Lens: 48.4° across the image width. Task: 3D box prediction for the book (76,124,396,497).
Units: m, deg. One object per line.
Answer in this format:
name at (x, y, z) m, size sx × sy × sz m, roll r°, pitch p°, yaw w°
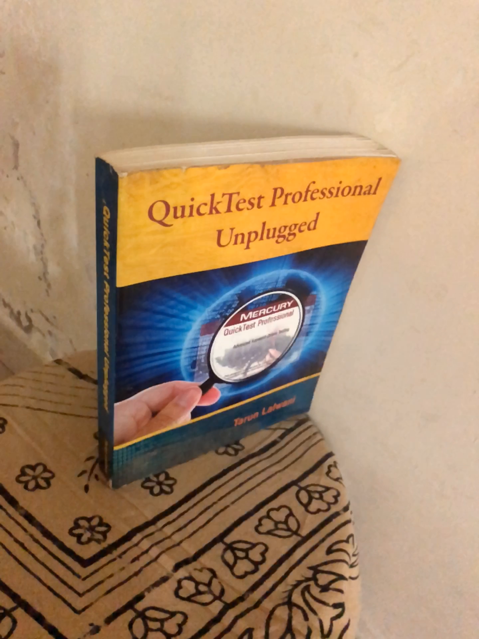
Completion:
book at (-0.013, -0.004, 0.413) m, size 0.211 × 0.269 × 0.050 m, roll -12°, pitch 39°, yaw -31°
